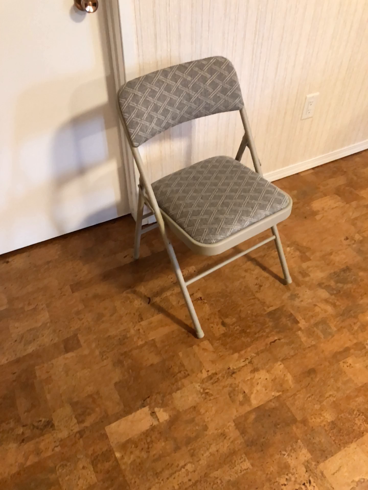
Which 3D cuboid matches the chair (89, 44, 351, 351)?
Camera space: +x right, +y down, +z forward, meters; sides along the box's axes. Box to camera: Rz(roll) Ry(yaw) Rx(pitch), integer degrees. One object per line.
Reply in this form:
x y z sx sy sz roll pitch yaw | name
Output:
0.079 -0.162 1.395 0.491 0.758 0.561 -26 51 -24 | chair
